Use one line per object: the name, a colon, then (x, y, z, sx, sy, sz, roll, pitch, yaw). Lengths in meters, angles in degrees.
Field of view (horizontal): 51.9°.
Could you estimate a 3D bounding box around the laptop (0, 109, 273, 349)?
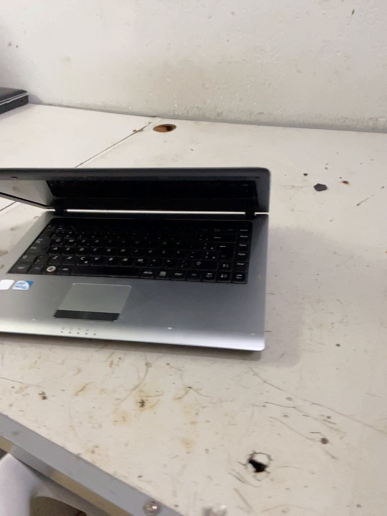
laptop: (-0.085, -0.053, 0.456, 0.333, 0.152, 0.242, 3, 37, 10)
